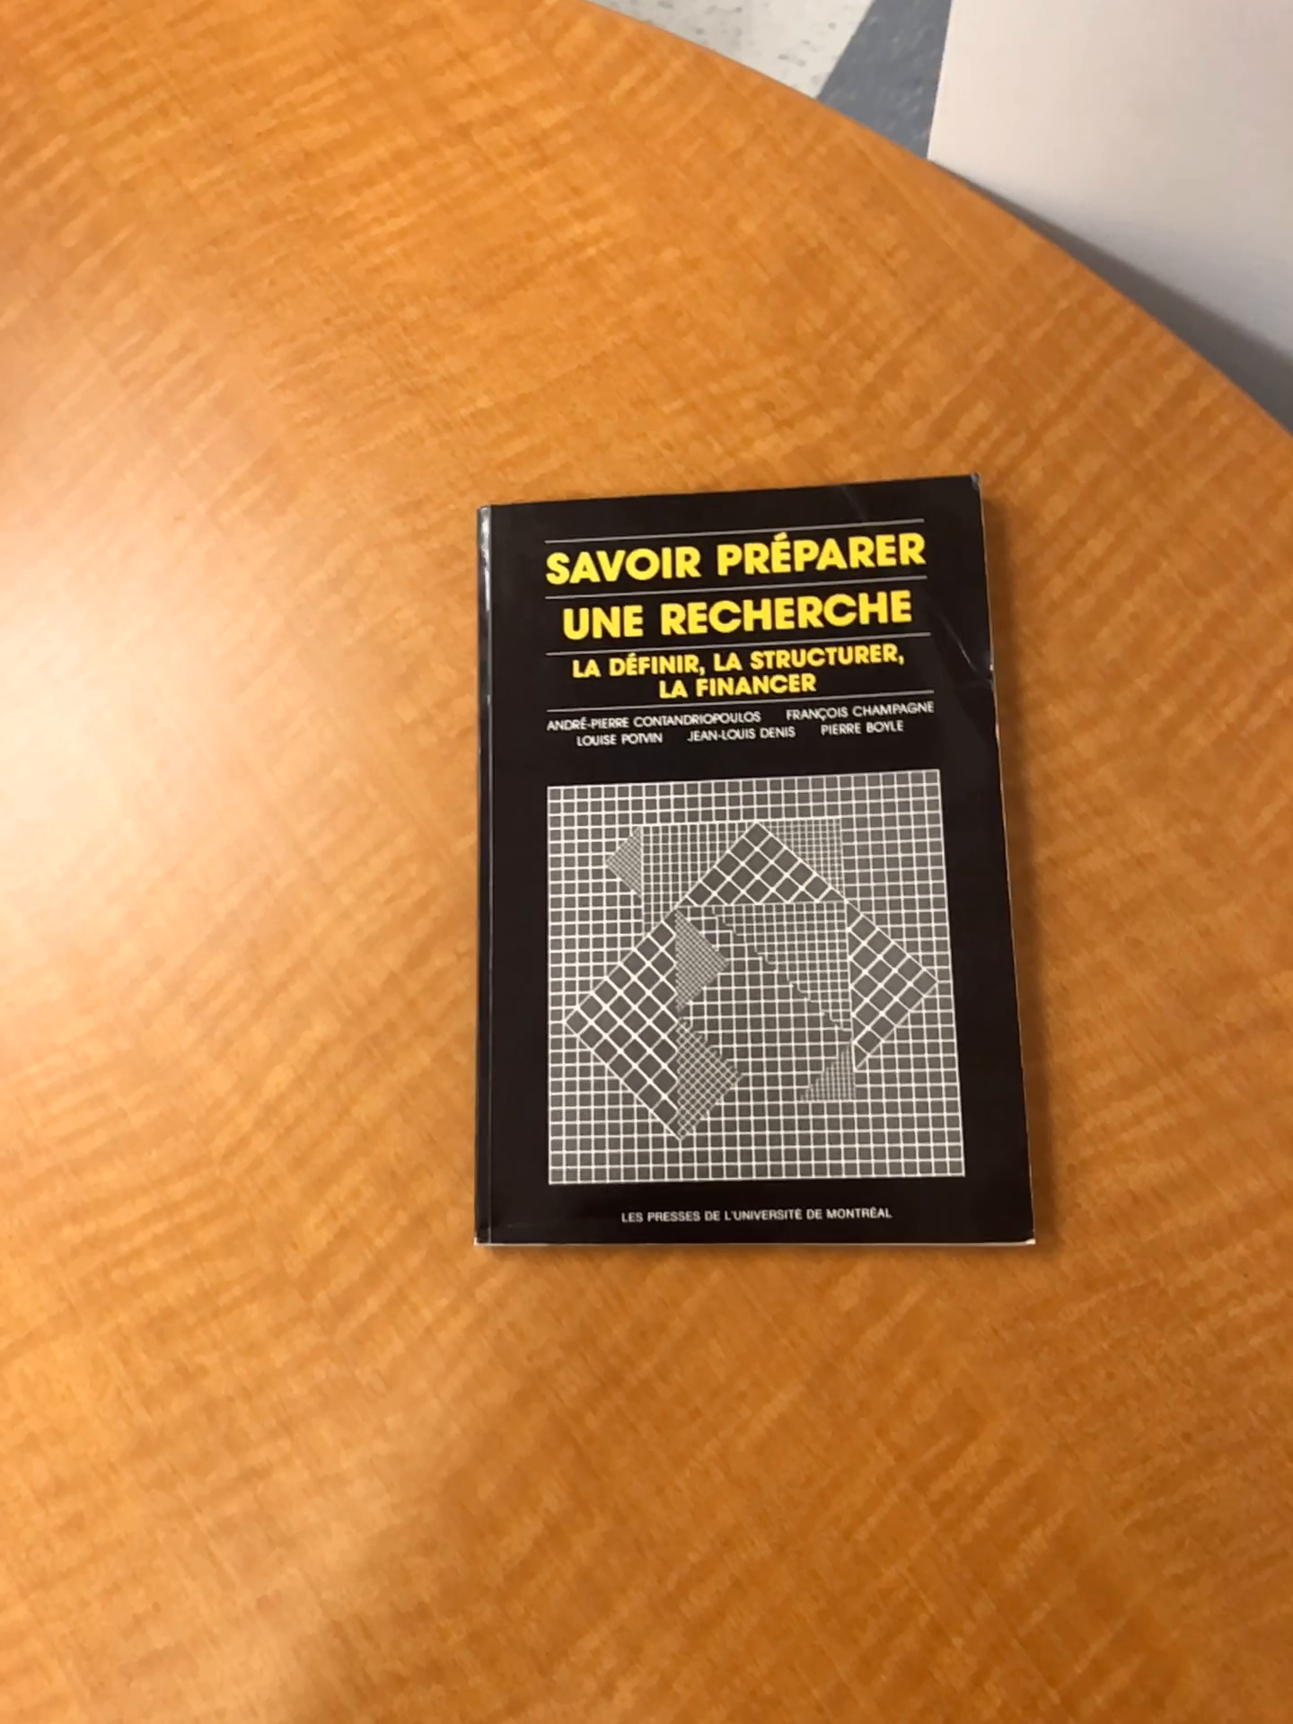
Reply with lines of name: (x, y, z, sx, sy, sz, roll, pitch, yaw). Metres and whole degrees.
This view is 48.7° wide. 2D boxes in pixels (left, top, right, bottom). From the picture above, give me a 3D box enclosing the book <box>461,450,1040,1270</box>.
book: (0.026, -0.003, 0.437, 0.160, 0.030, 0.240, -3, 78, 4)
